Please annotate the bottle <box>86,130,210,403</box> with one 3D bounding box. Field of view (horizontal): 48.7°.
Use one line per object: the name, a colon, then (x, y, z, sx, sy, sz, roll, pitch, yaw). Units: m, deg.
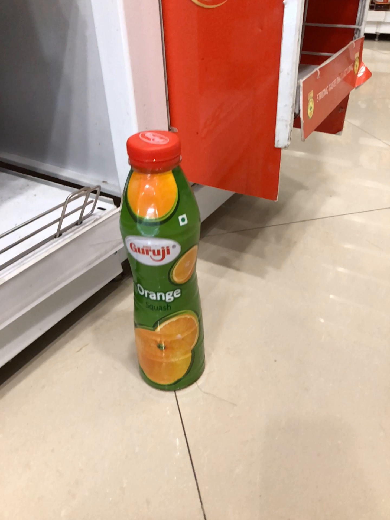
bottle: (-0.028, 0.017, 0.377, 0.070, 0.238, 0.070, -2, 35, 1)
